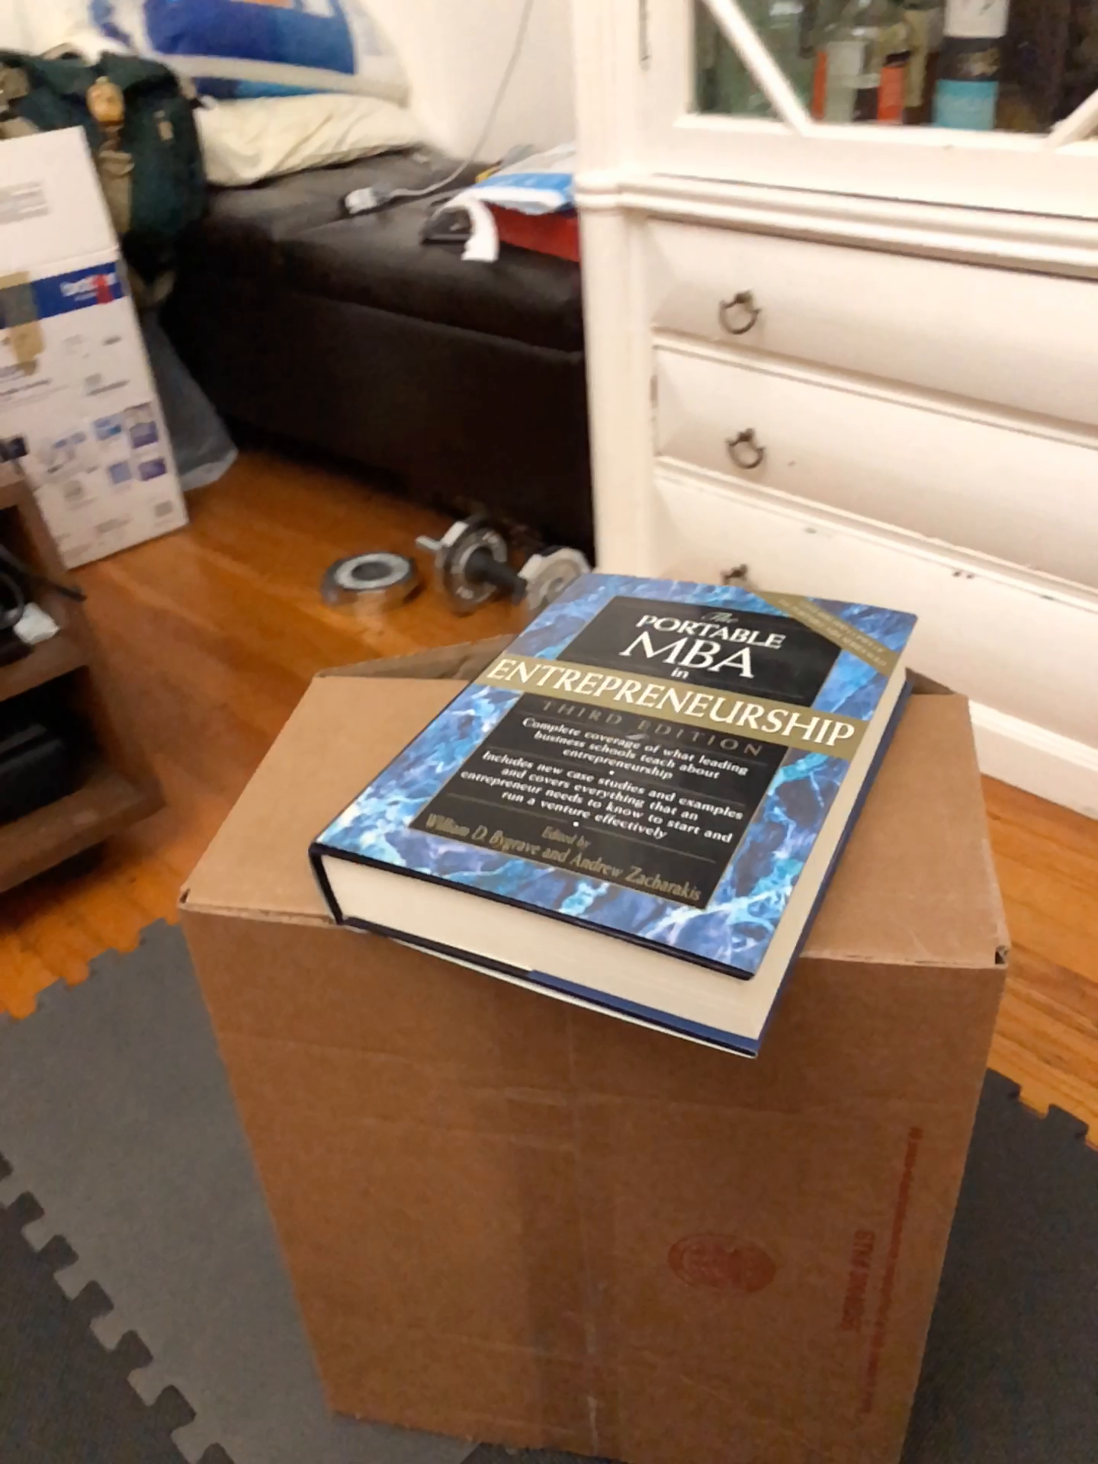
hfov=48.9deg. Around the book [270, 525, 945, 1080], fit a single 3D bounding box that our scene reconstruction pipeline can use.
[{"bbox_3d":[0.044,0.005,0.553,0.210,0.060,0.271,12,39,23],"label":"book"}]
